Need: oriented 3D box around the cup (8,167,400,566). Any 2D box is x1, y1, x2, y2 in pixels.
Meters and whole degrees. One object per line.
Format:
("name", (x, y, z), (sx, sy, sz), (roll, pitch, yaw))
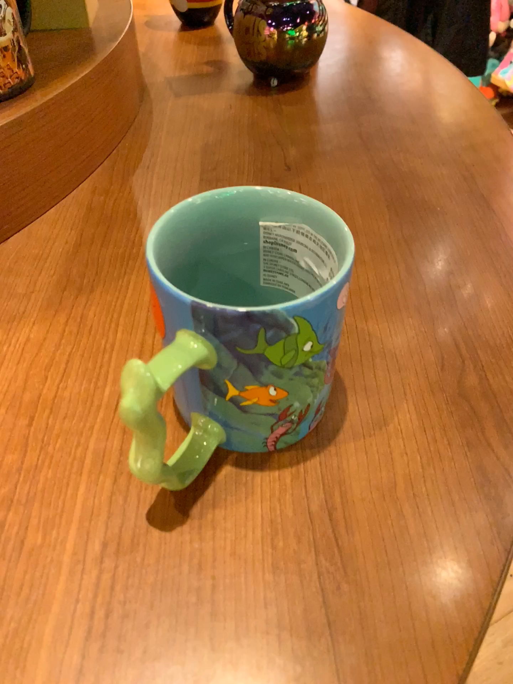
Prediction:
("cup", (-0.016, 0.004, 0.250), (0.091, 0.101, 0.135), (31, 53, 26))
